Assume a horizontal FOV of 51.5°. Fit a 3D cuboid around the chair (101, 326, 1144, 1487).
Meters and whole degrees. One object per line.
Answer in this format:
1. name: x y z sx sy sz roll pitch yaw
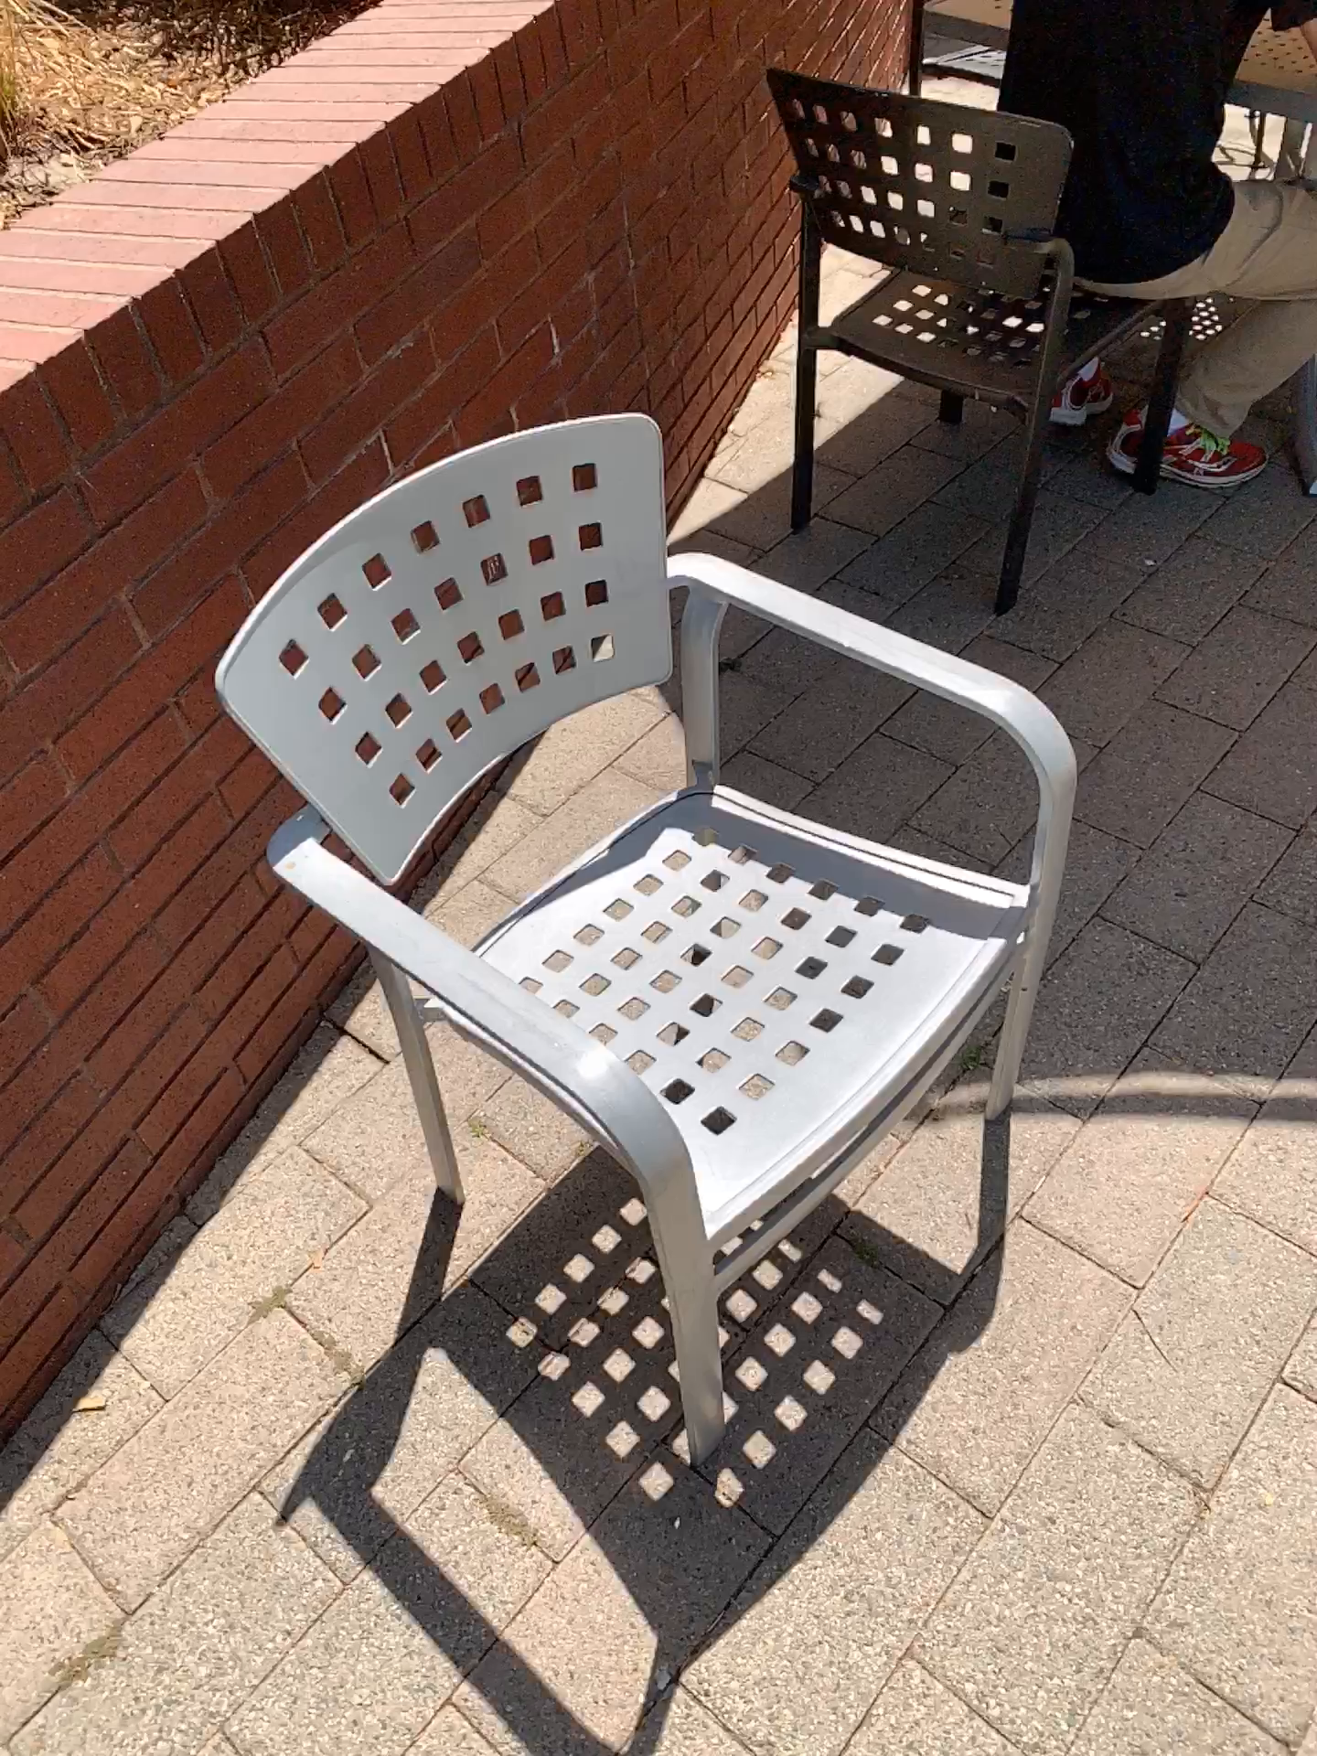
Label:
1. chair: 0.015 0.023 1.212 0.493 0.718 0.558 28 56 31
